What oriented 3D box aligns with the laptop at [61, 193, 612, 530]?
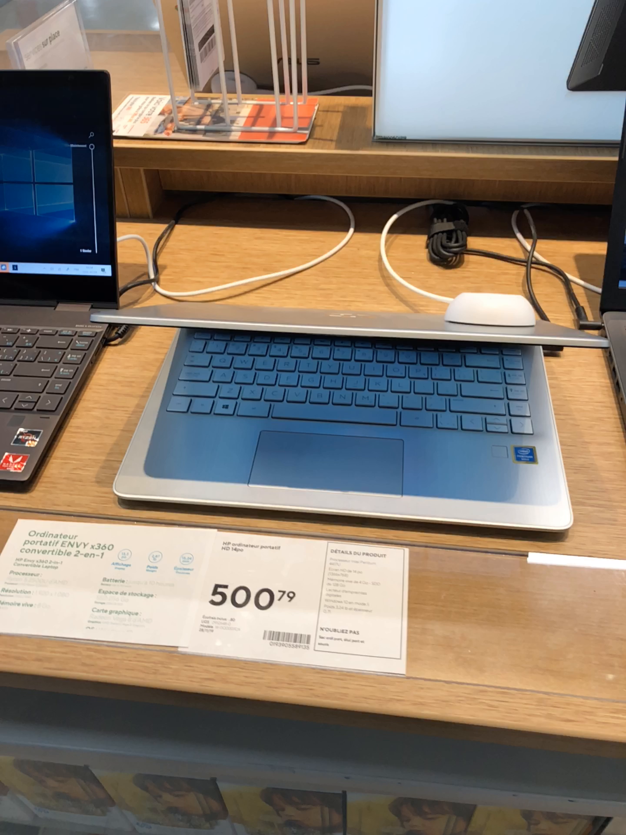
[{"bbox_3d":[0.020,-0.054,0.503,0.314,0.110,0.217,3,47,6],"label":"laptop"}]
